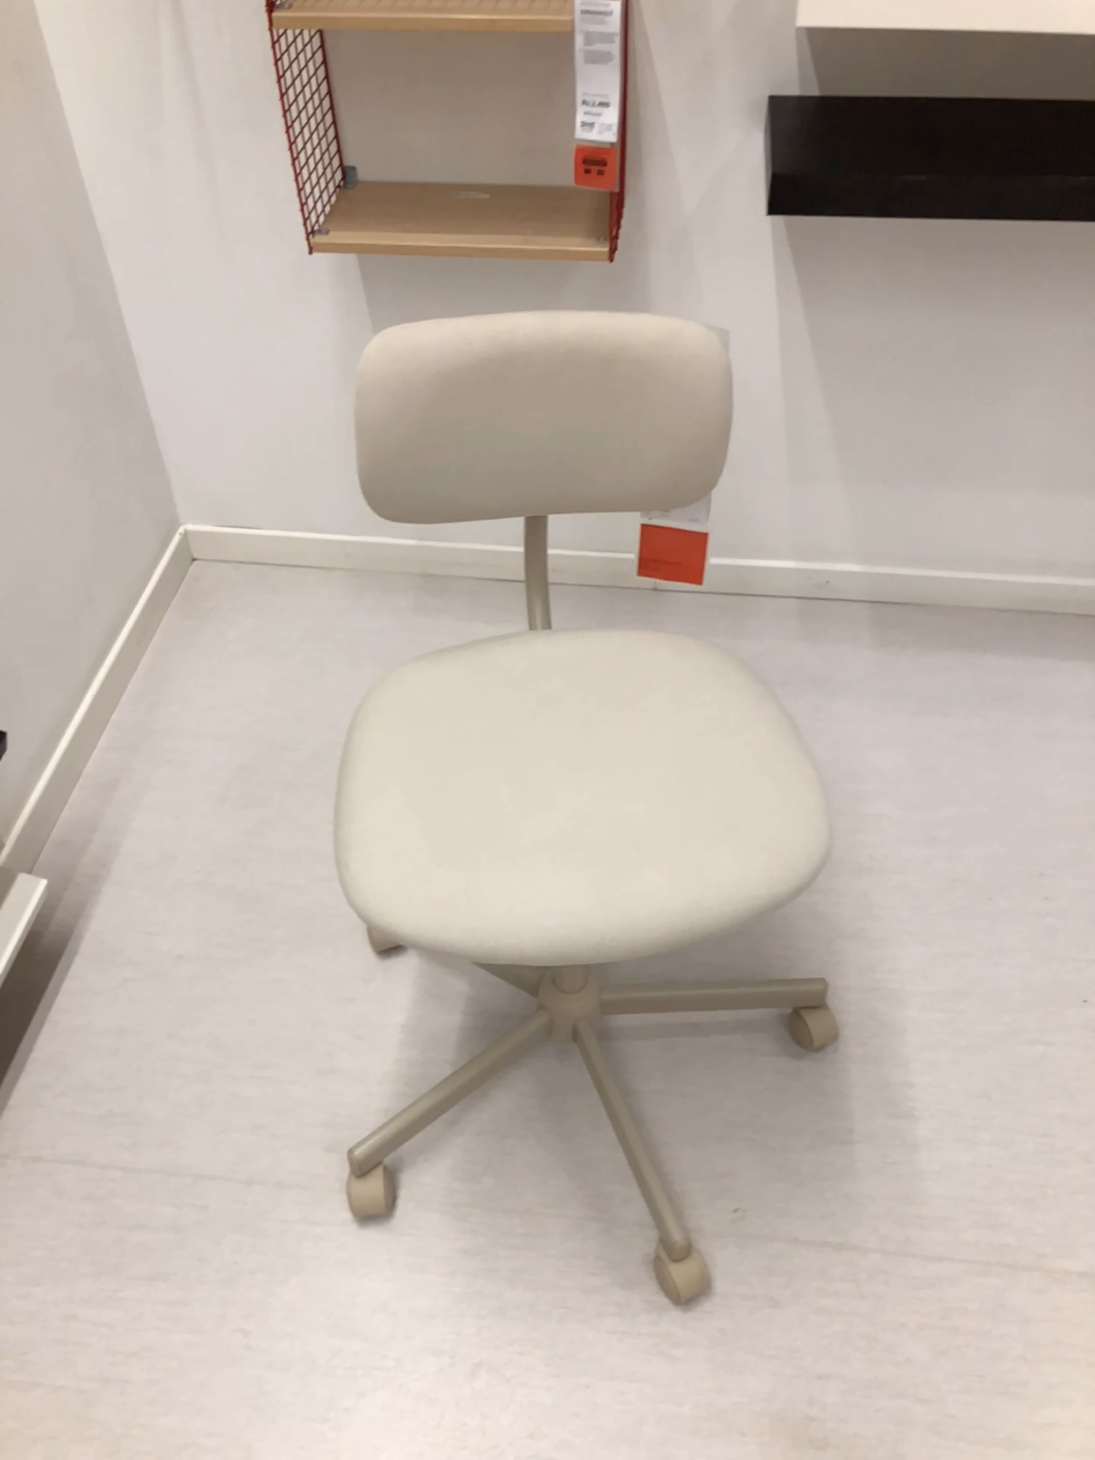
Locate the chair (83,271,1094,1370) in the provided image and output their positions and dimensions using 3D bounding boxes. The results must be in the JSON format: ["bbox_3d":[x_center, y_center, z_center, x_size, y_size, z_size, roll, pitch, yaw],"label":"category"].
[{"bbox_3d":[0.033,0.094,1.189,0.640,0.765,0.694,-5,46,-4],"label":"chair"}]
